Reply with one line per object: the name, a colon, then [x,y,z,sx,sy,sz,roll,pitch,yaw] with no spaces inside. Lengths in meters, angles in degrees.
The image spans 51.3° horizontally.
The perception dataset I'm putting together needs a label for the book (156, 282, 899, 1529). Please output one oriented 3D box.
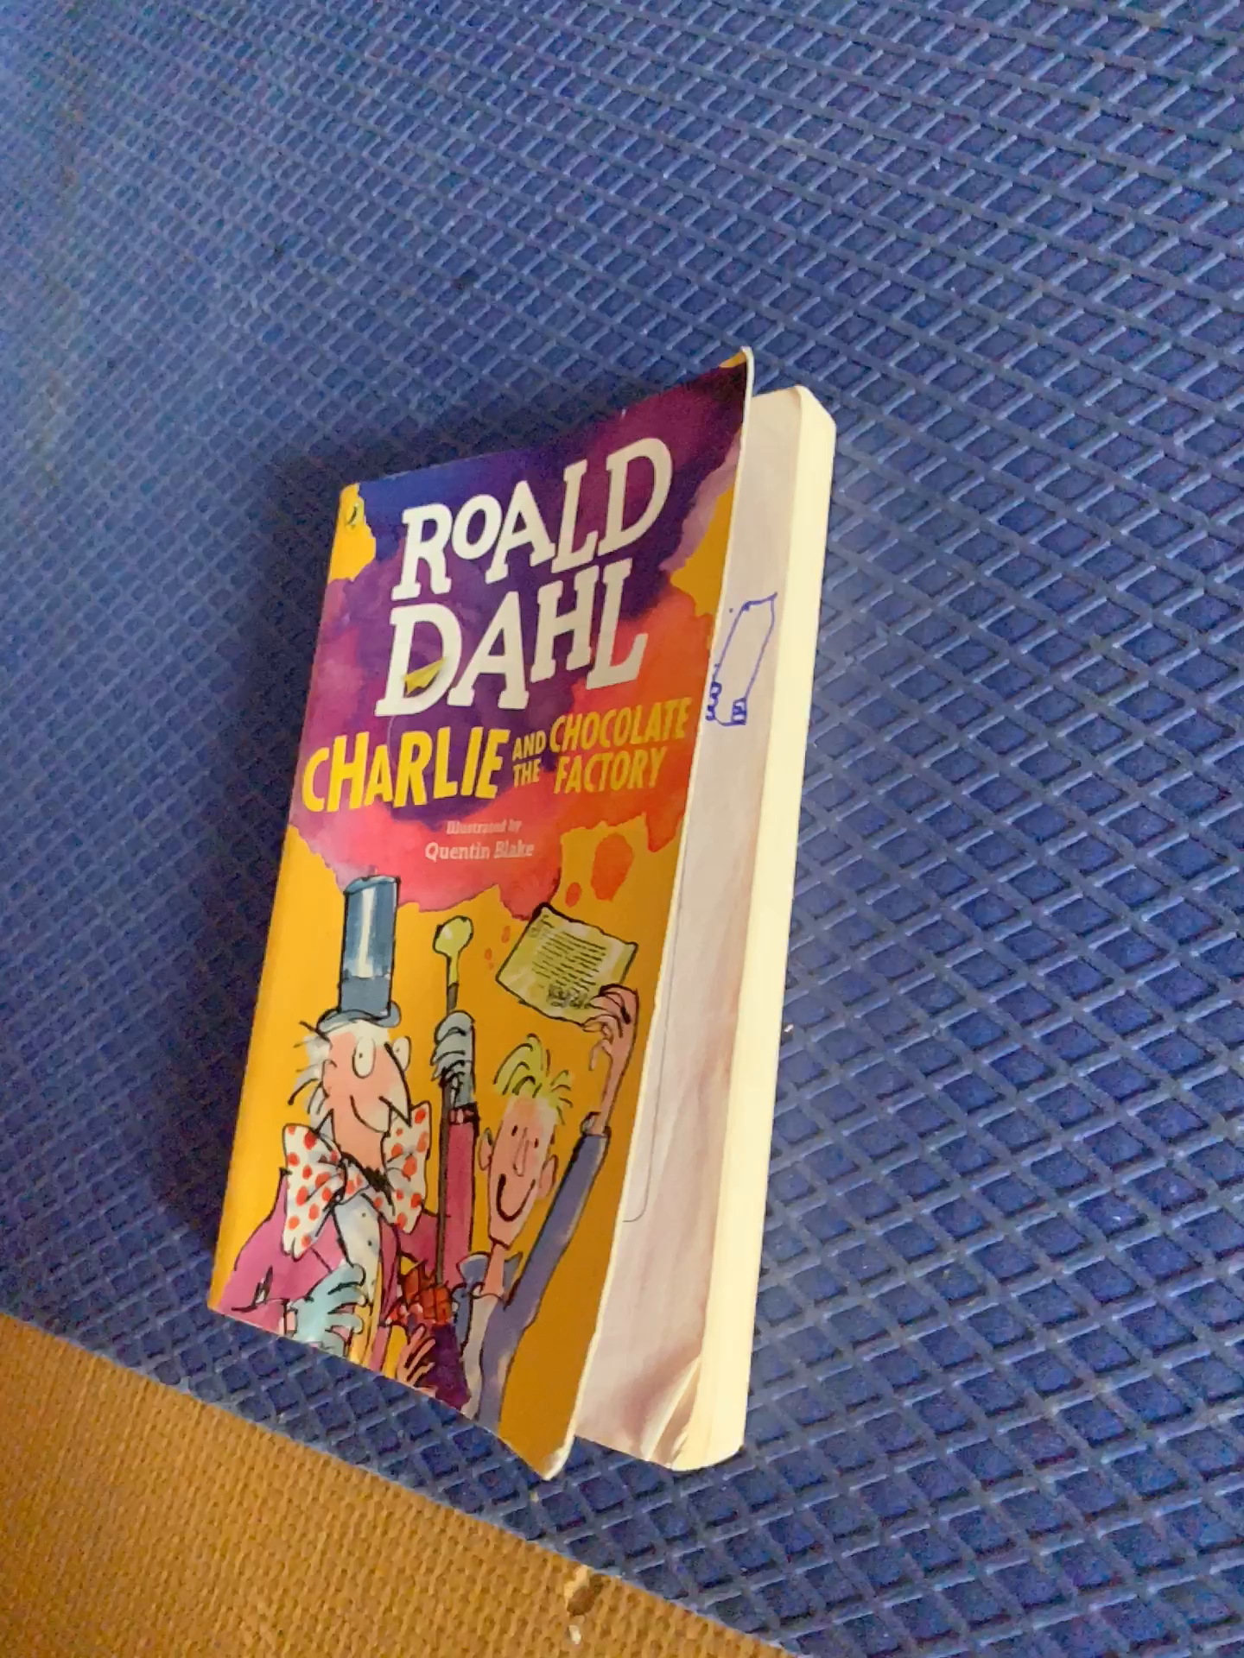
book: [-0.023,0.005,0.264,0.141,0.020,0.210,0,77,35]
